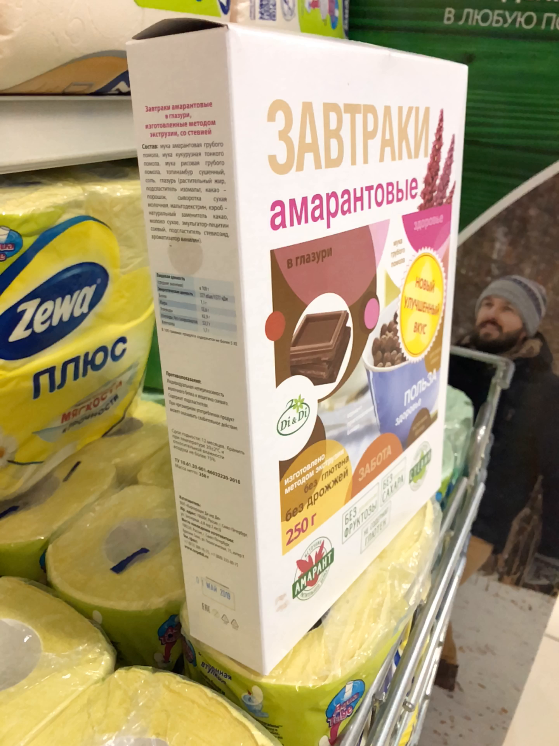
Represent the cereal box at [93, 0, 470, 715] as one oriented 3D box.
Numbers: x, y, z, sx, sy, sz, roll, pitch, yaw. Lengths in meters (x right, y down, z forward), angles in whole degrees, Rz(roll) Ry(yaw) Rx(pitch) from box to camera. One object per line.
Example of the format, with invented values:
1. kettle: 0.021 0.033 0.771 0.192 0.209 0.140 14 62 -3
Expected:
1. cereal box: 0.025 -0.018 0.297 0.050 0.269 0.191 12 25 34
